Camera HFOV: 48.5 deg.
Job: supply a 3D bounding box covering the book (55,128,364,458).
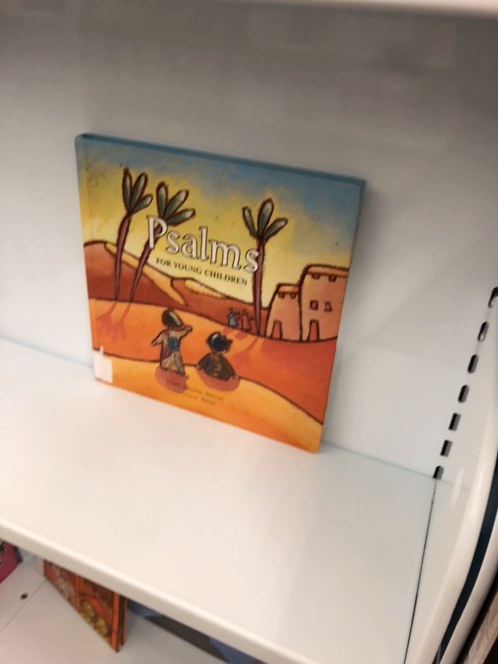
[{"bbox_3d":[-0.040,-0.026,0.405,0.212,0.205,0.021,15,31,18],"label":"book"}]
